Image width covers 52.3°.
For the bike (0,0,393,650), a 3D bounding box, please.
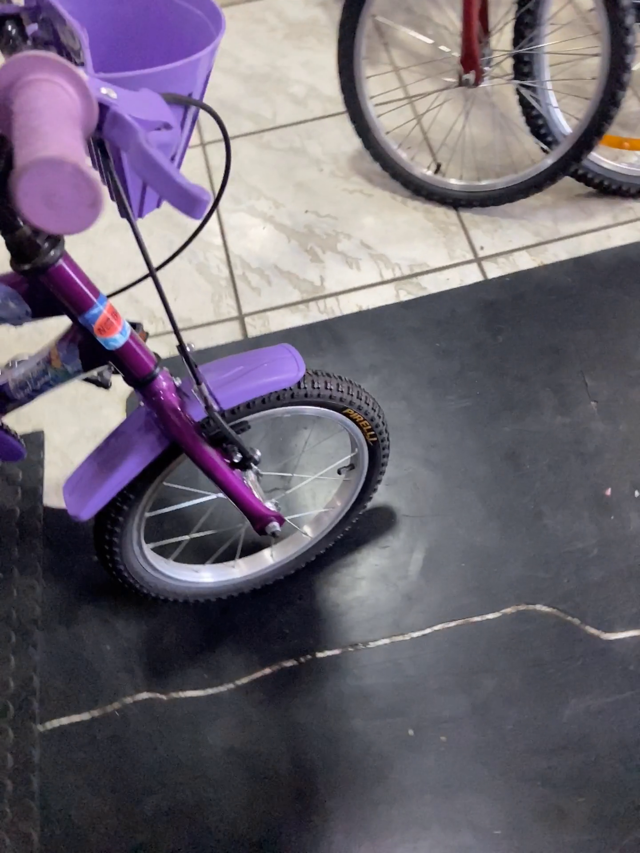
[{"bbox_3d":[-0.433,-0.127,0.722,0.971,0.744,0.449,7,65,10],"label":"bike"}]
